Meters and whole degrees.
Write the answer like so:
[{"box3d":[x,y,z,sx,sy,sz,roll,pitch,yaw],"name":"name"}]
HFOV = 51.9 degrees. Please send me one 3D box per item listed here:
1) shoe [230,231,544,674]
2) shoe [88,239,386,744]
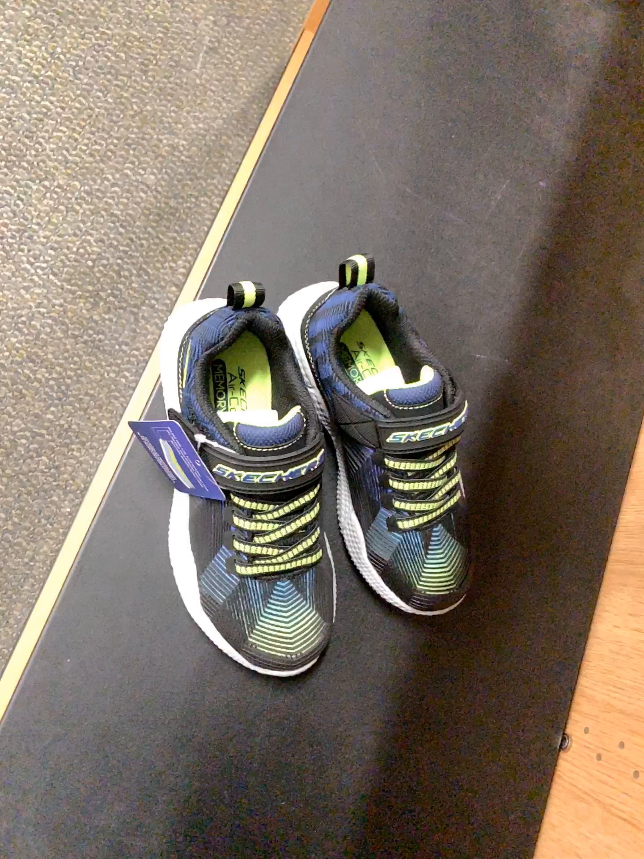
[{"box3d":[0.032,0.012,0.401,0.092,0.100,0.220,-18,90,-22],"name":"shoe"},{"box3d":[-0.054,0.026,0.357,0.098,0.100,0.220,-11,87,-21],"name":"shoe"}]
